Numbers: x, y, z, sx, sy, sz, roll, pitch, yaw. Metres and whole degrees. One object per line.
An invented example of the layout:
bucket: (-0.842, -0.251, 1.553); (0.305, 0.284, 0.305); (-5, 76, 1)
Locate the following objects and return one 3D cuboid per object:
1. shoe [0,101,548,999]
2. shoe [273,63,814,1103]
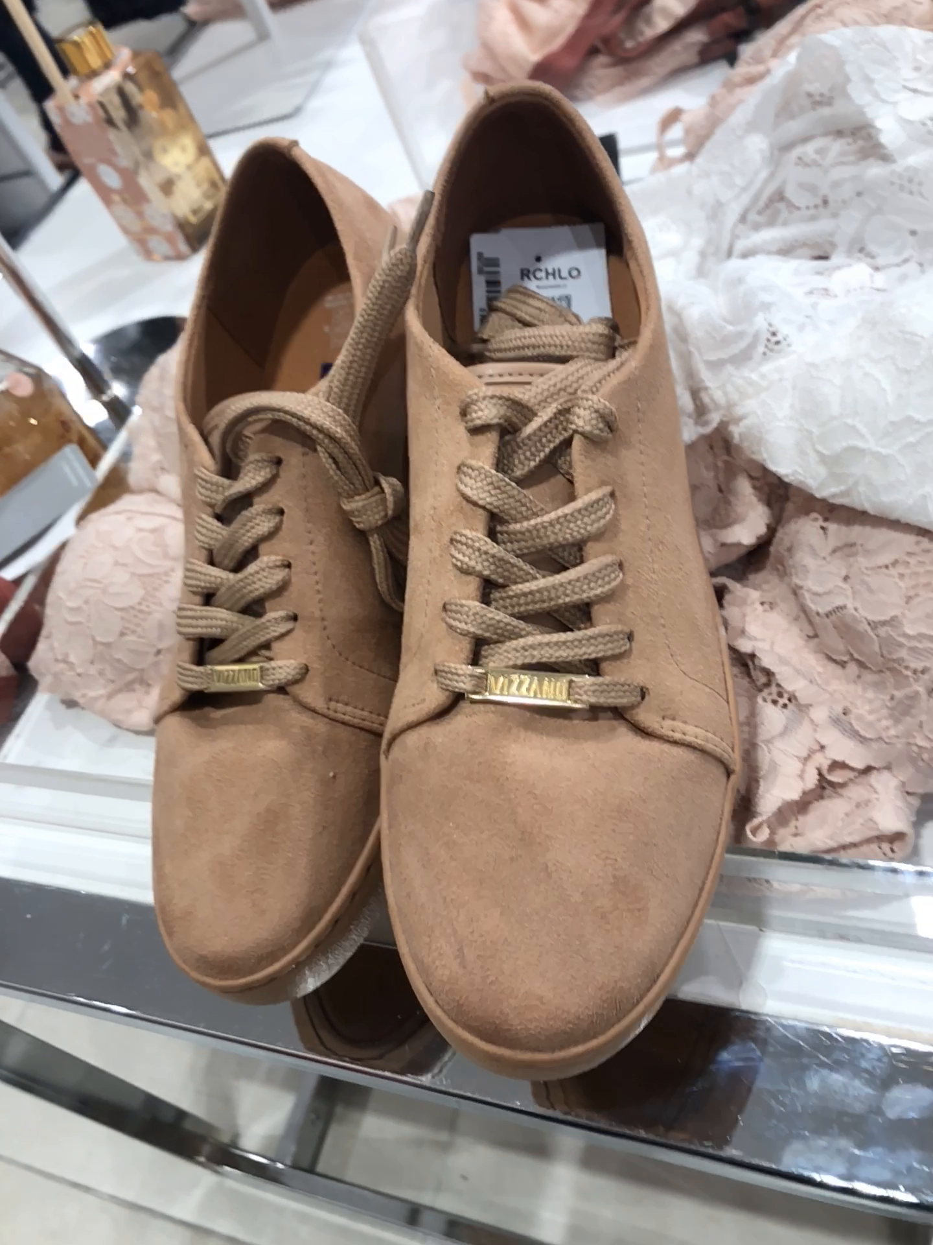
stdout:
shoe: (-0.047, -0.019, 0.320); (0.090, 0.099, 0.241); (0, 70, 24)
shoe: (0.024, -0.013, 0.267); (0.090, 0.099, 0.241); (1, 66, 8)
